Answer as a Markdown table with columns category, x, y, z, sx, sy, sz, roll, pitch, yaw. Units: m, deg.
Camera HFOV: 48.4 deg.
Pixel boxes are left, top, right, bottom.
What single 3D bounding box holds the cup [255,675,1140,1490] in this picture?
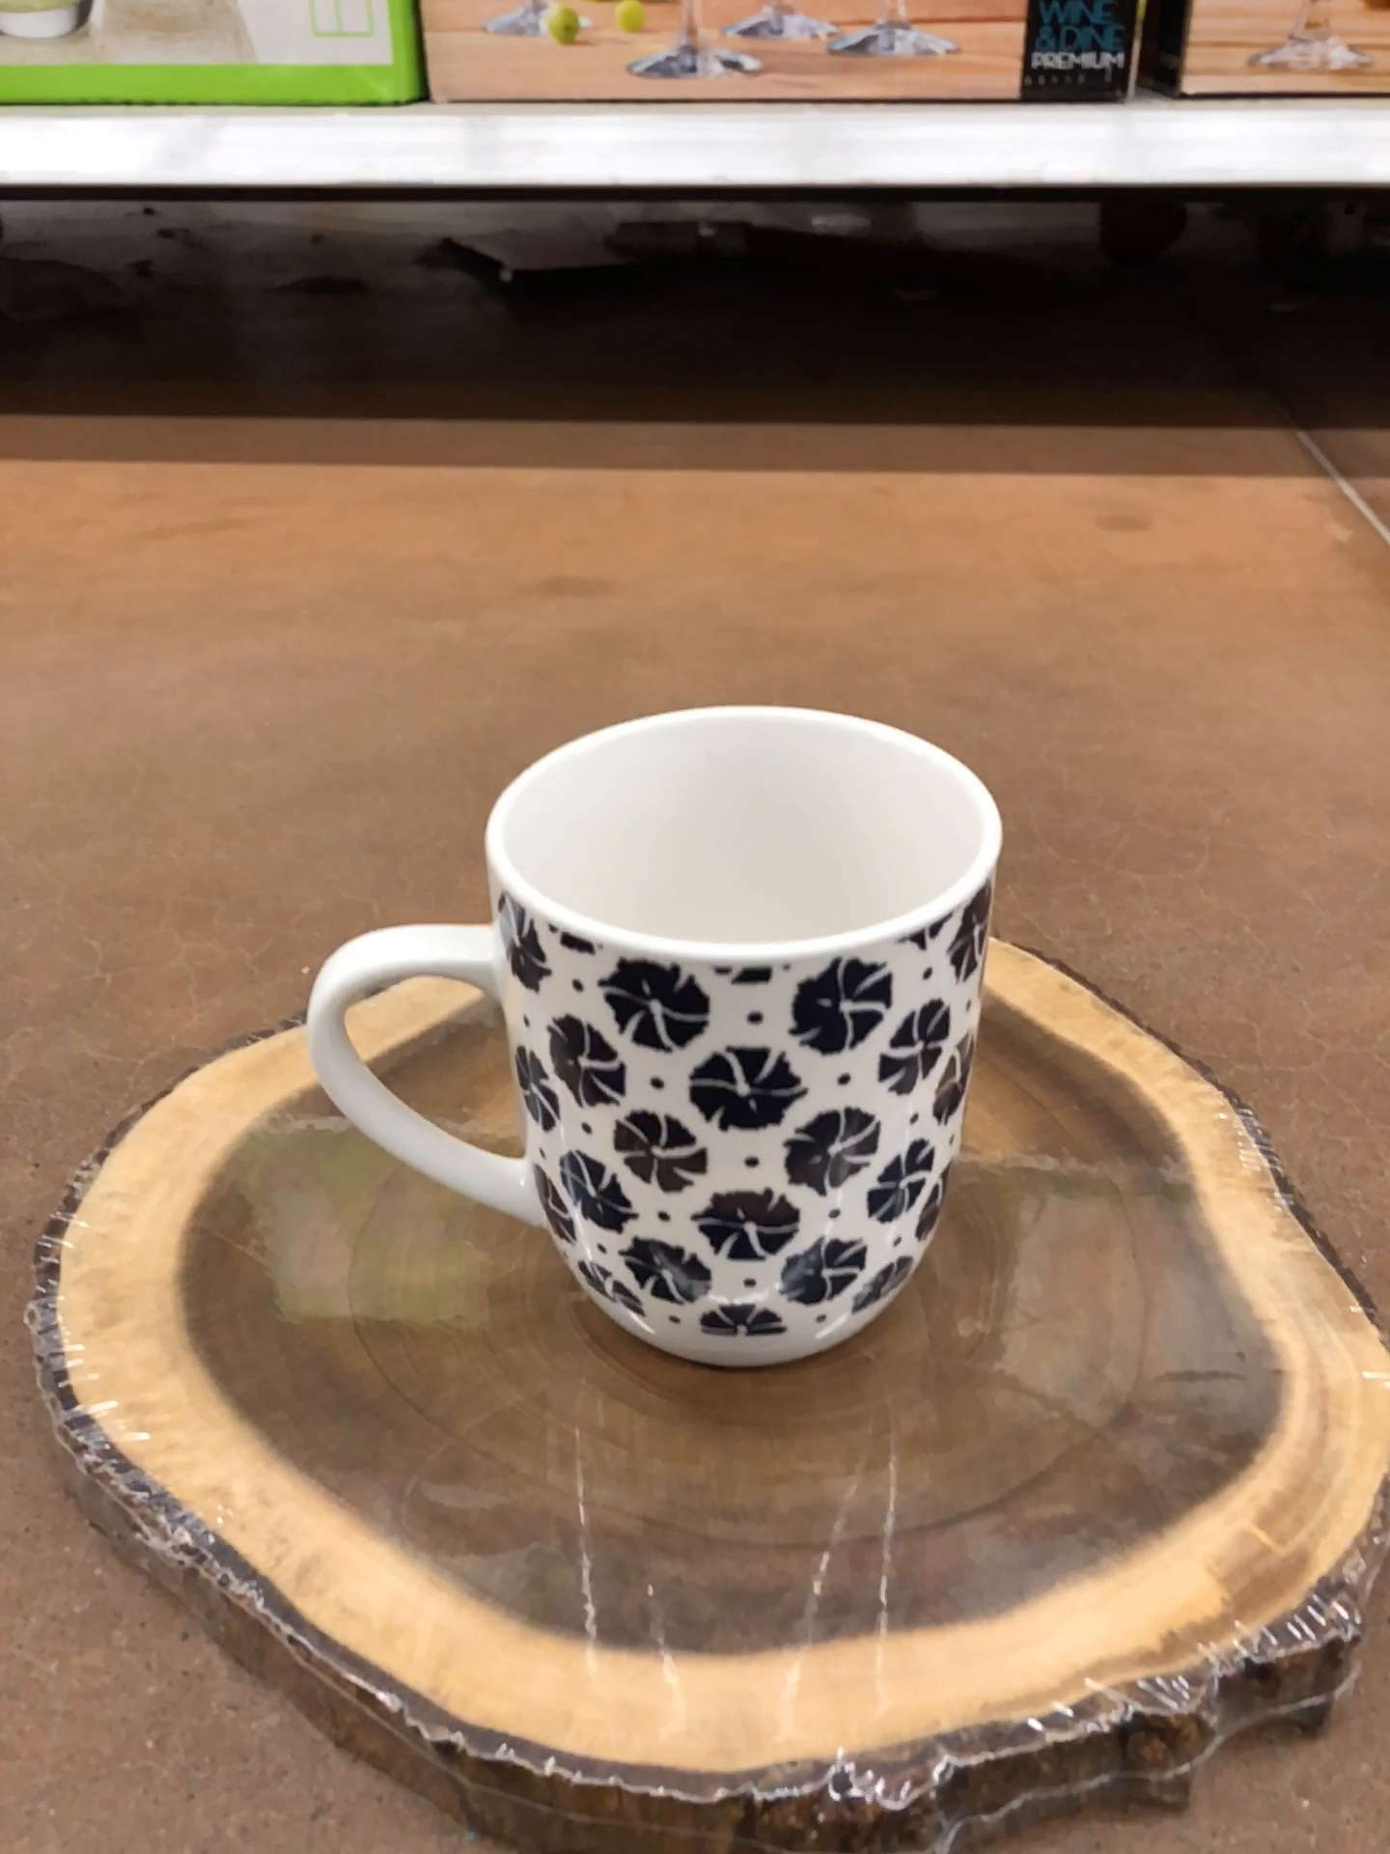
| category | x | y | z | sx | sy | sz | roll | pitch | yaw |
| --- | --- | --- | --- | --- | --- | --- | --- | --- | --- |
| cup | -0.005 | 0.023 | 0.286 | 0.130 | 0.100 | 0.090 | -7 | 32 | -9 |
